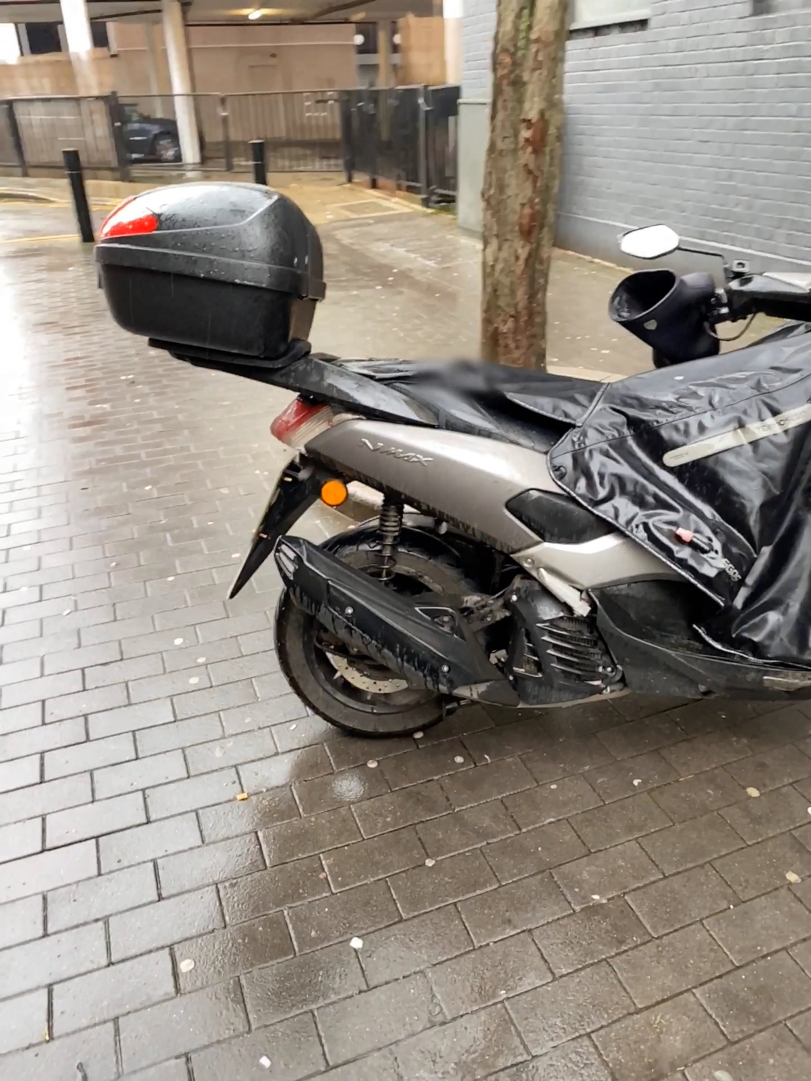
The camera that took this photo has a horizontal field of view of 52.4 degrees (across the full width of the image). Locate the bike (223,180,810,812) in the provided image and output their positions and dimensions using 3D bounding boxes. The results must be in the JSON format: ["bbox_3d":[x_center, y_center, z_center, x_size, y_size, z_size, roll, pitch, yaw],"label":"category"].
[{"bbox_3d":[0.593,-0.164,1.861,1.731,1.121,0.763,-4,27,-5],"label":"bike"}]
